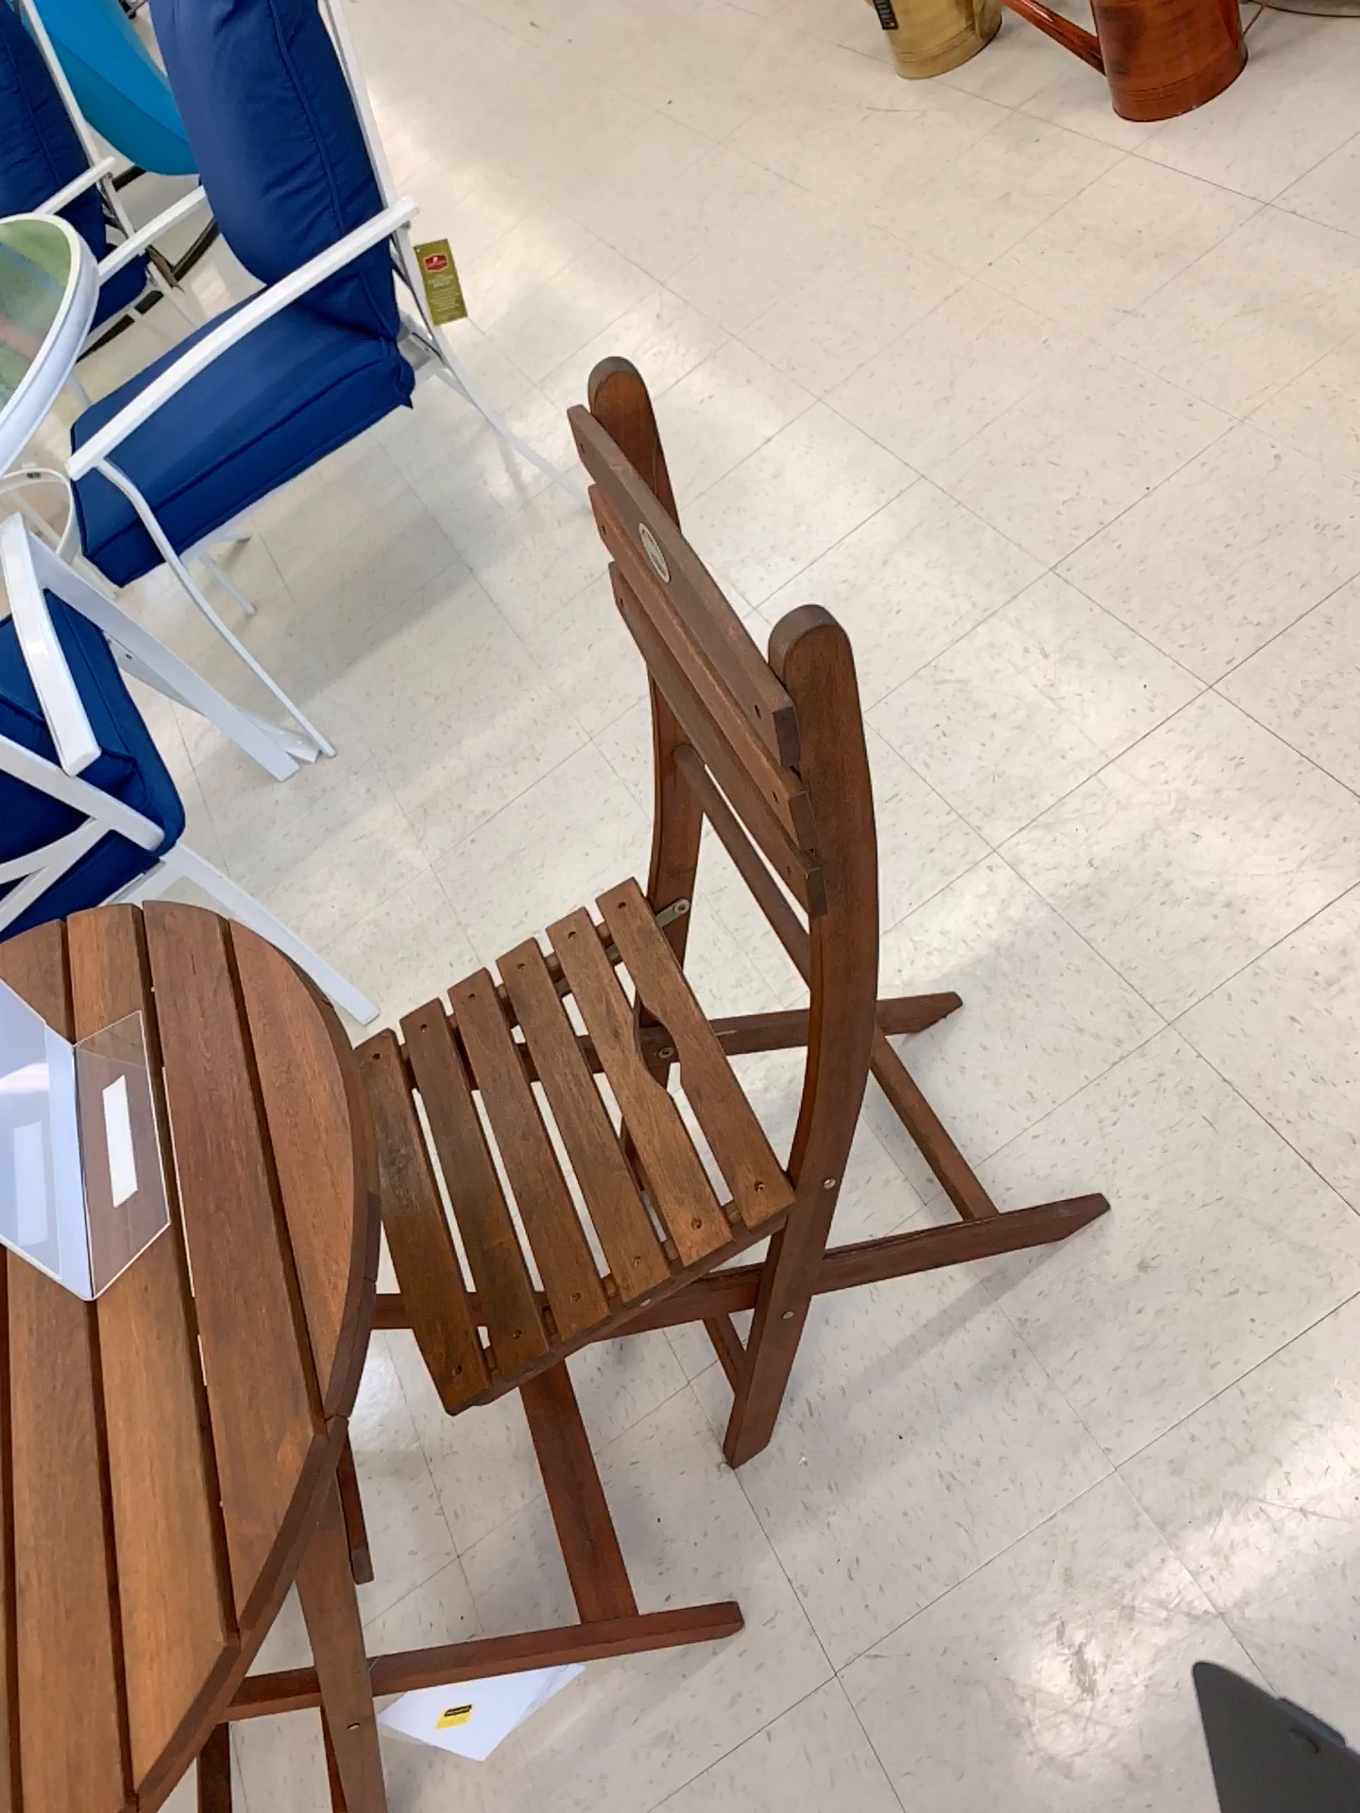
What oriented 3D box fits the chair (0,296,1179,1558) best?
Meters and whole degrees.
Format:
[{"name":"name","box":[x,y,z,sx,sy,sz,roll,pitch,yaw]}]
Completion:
[{"name":"chair","box":[-0.048,0.089,1.092,0.550,0.776,0.442,-35,47,5]}]
